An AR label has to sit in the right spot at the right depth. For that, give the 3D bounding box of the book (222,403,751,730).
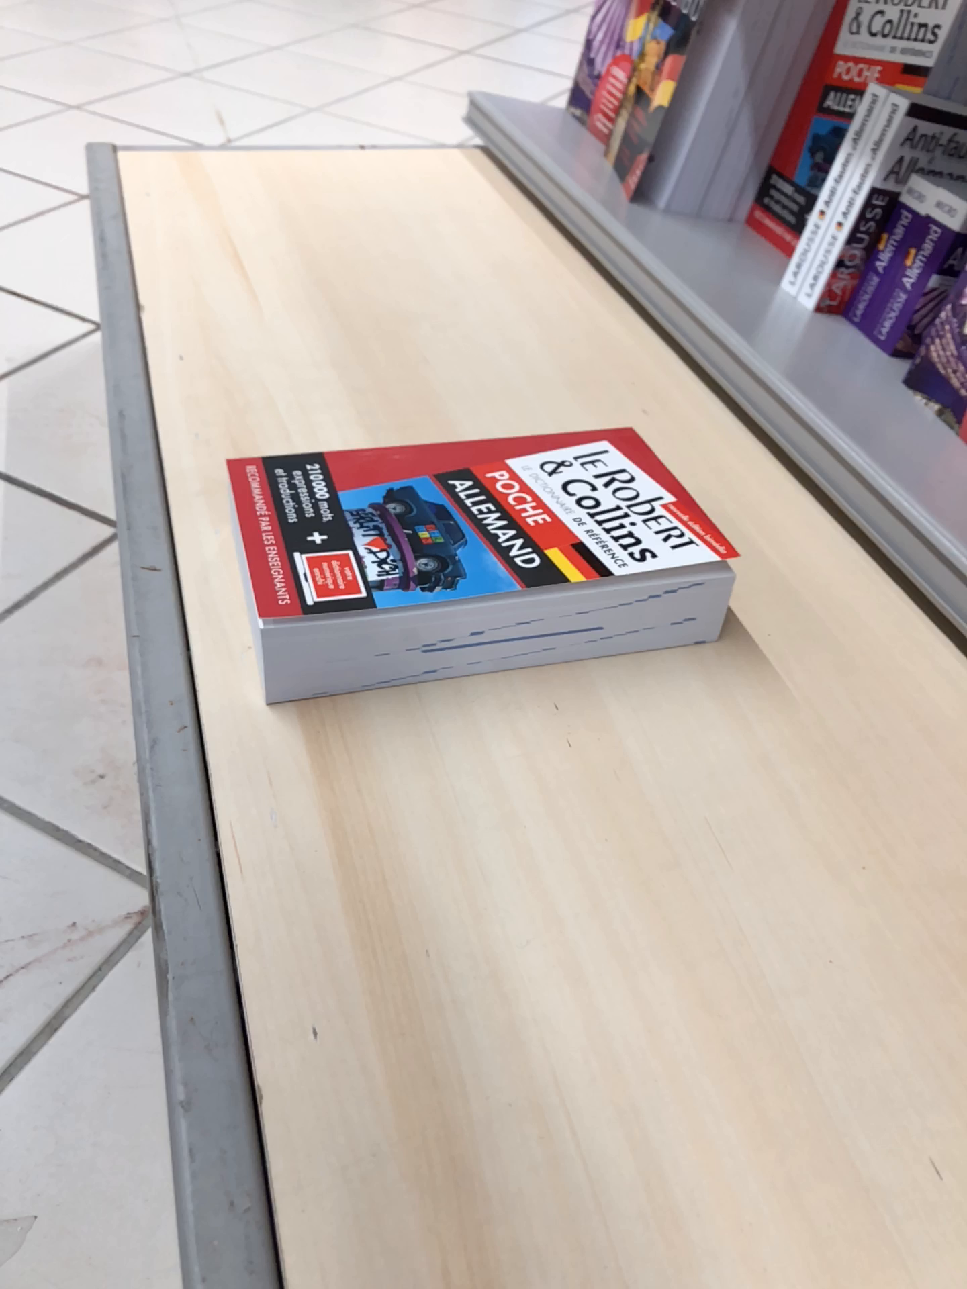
[{"bbox_3d":[-0.005,-0.037,0.408,0.170,0.050,0.110,-9,40,-14],"label":"book"}]
